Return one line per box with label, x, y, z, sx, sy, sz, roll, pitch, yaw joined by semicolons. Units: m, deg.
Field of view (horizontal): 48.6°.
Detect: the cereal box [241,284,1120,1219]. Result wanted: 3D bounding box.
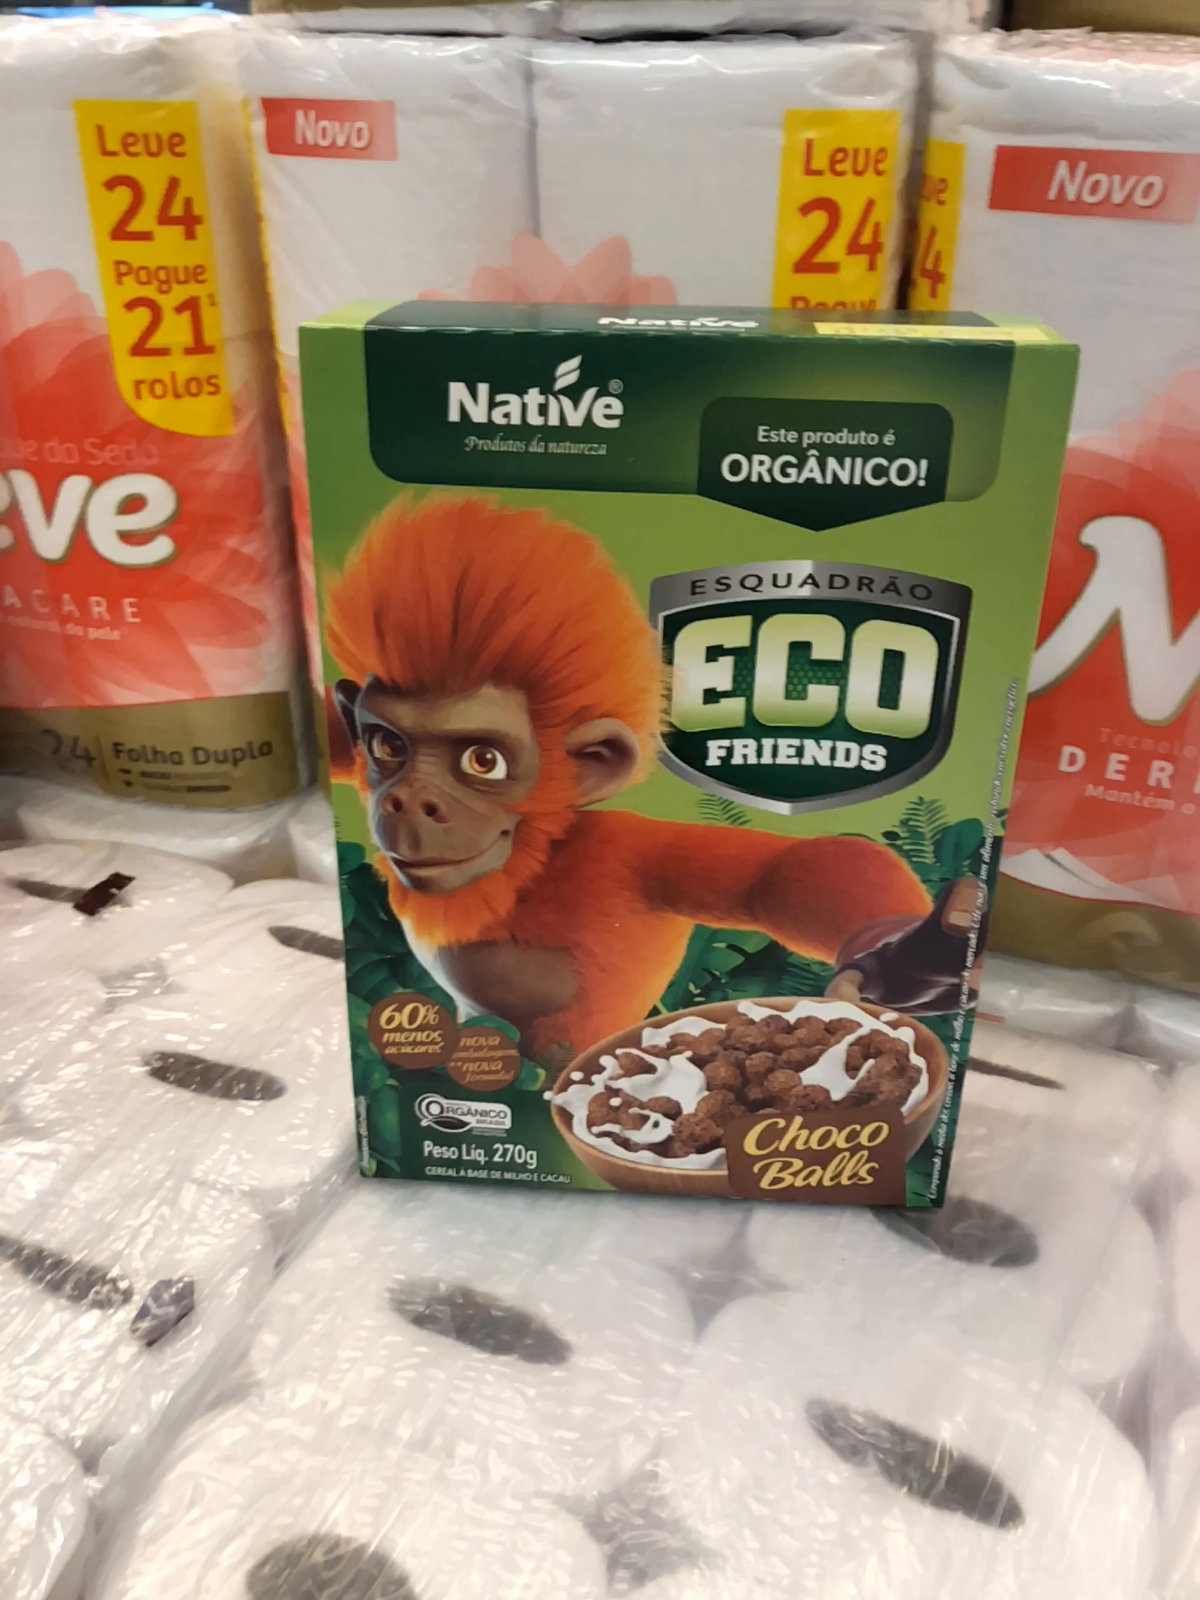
cereal box;0.015;-0.008;0.347;0.180;0.228;0.060;3;25;4
